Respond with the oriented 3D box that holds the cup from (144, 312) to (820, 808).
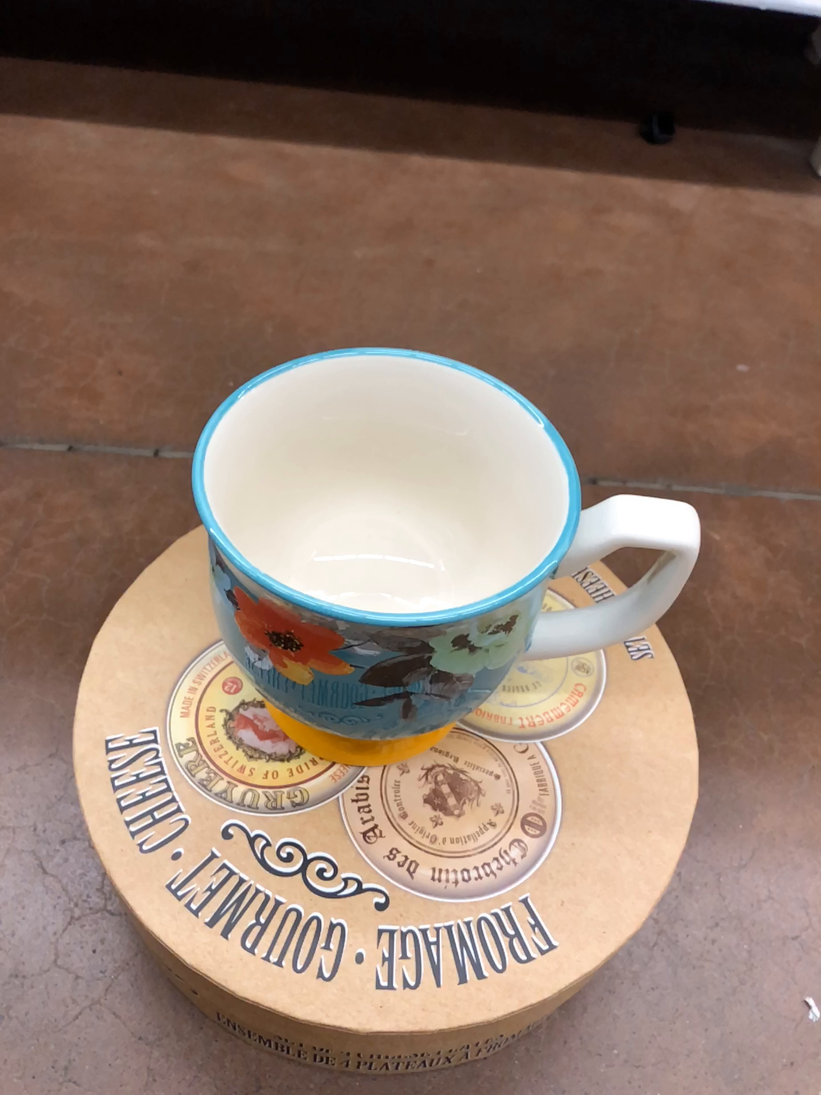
[{"bbox_3d":[0.014,0.004,0.249,0.140,0.080,0.090,6,48,-2],"label":"cup"}]
